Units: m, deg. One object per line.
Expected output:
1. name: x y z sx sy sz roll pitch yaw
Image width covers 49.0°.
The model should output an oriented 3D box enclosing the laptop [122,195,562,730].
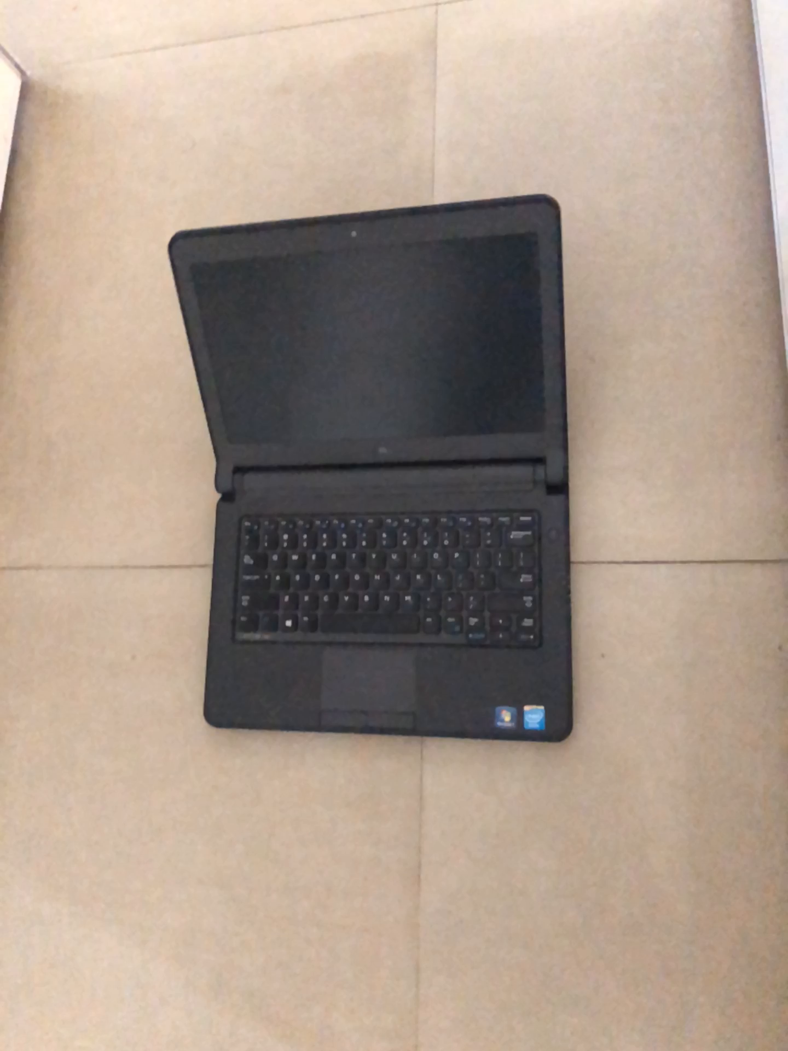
1. laptop: -0.026 -0.036 0.719 0.313 0.154 0.392 -2 77 13
